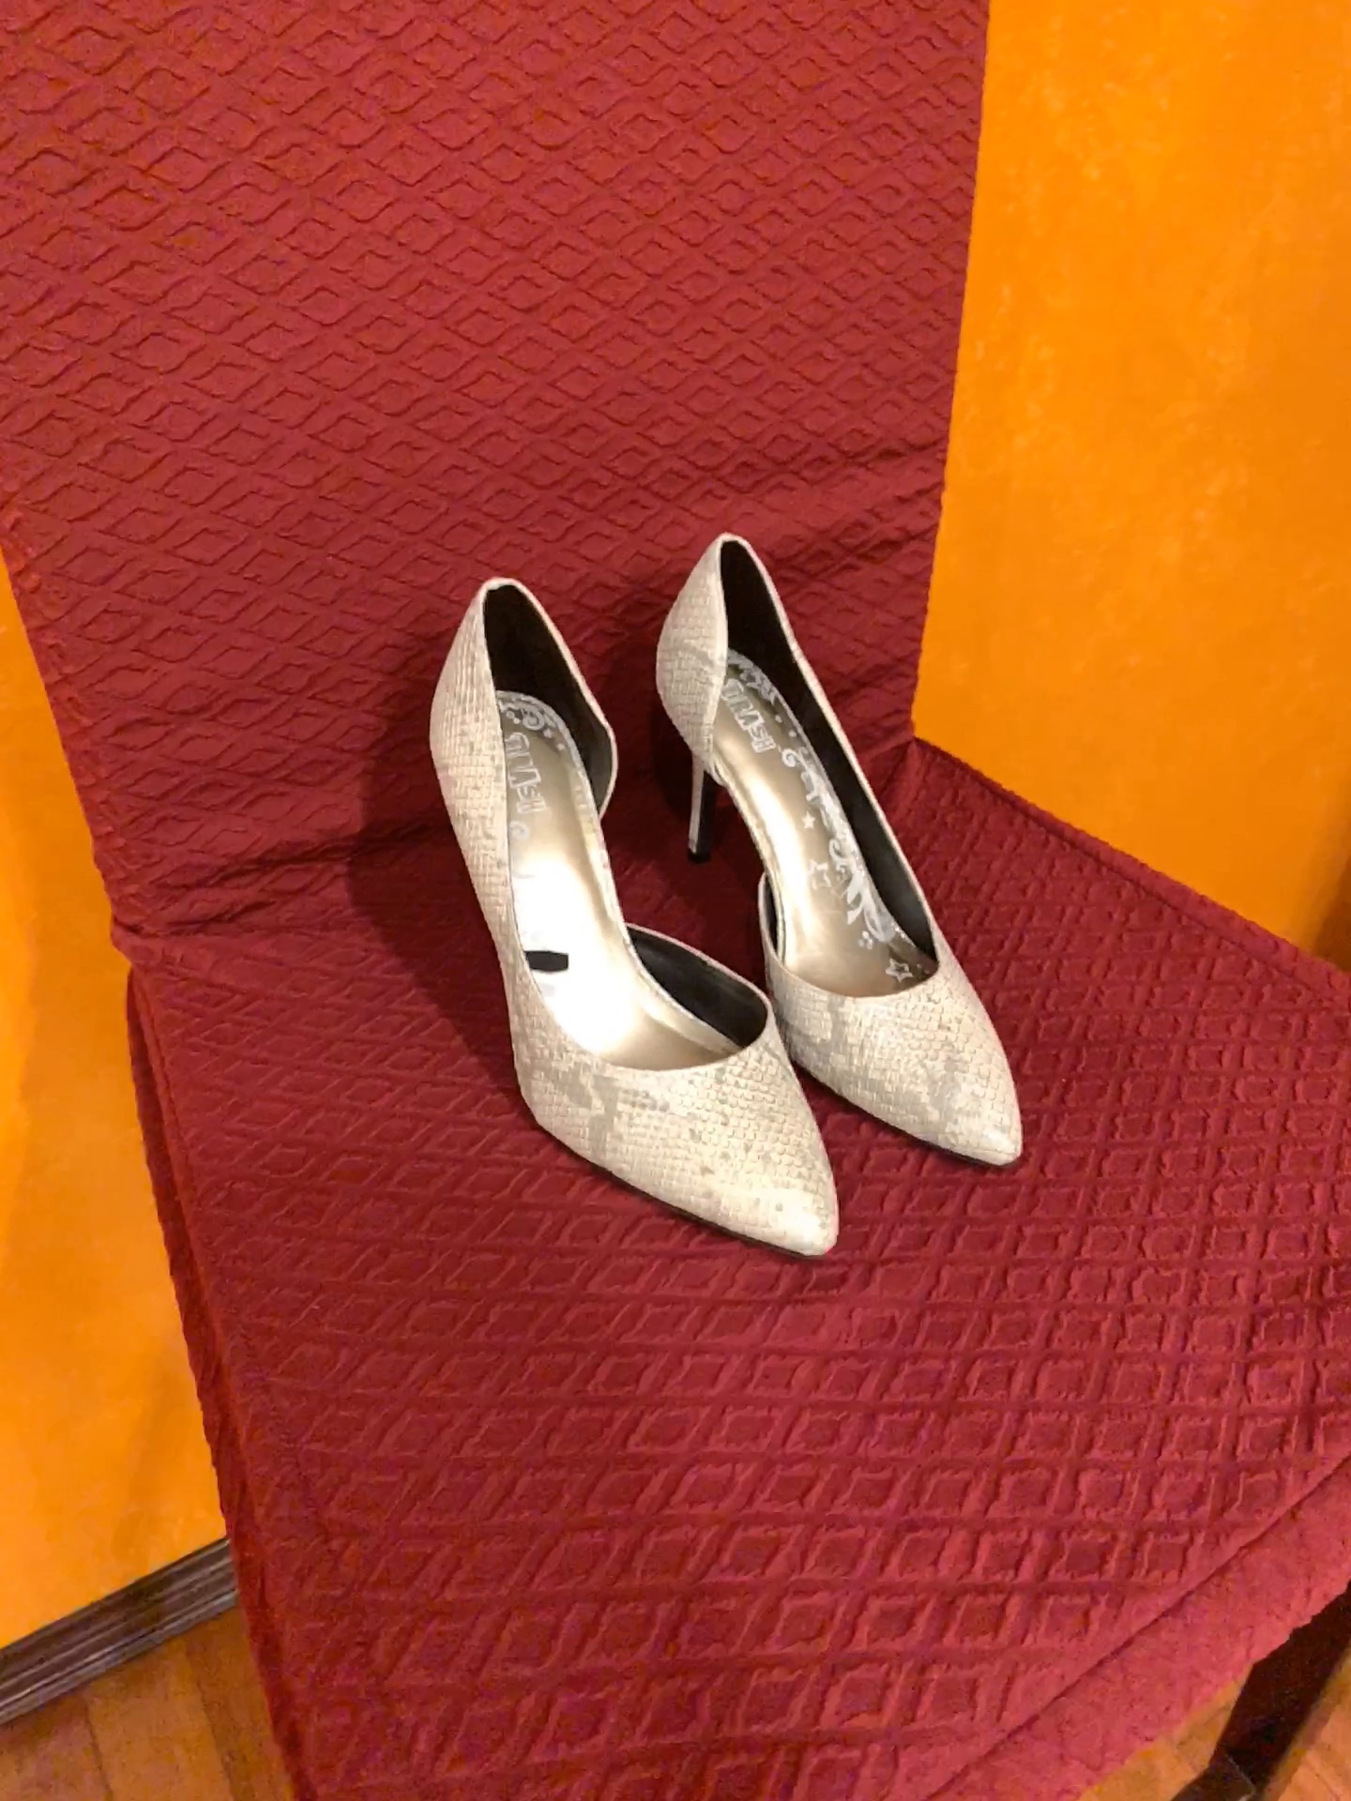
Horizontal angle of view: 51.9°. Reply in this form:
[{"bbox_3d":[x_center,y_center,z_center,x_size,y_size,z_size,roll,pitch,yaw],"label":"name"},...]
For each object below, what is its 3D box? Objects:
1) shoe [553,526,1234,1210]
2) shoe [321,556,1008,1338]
[{"bbox_3d":[0.059,-0.028,0.518,0.090,0.120,0.249,-18,45,-30],"label":"shoe"},{"bbox_3d":[-0.023,-0.002,0.468,0.090,0.119,0.252,-18,45,-30],"label":"shoe"}]
